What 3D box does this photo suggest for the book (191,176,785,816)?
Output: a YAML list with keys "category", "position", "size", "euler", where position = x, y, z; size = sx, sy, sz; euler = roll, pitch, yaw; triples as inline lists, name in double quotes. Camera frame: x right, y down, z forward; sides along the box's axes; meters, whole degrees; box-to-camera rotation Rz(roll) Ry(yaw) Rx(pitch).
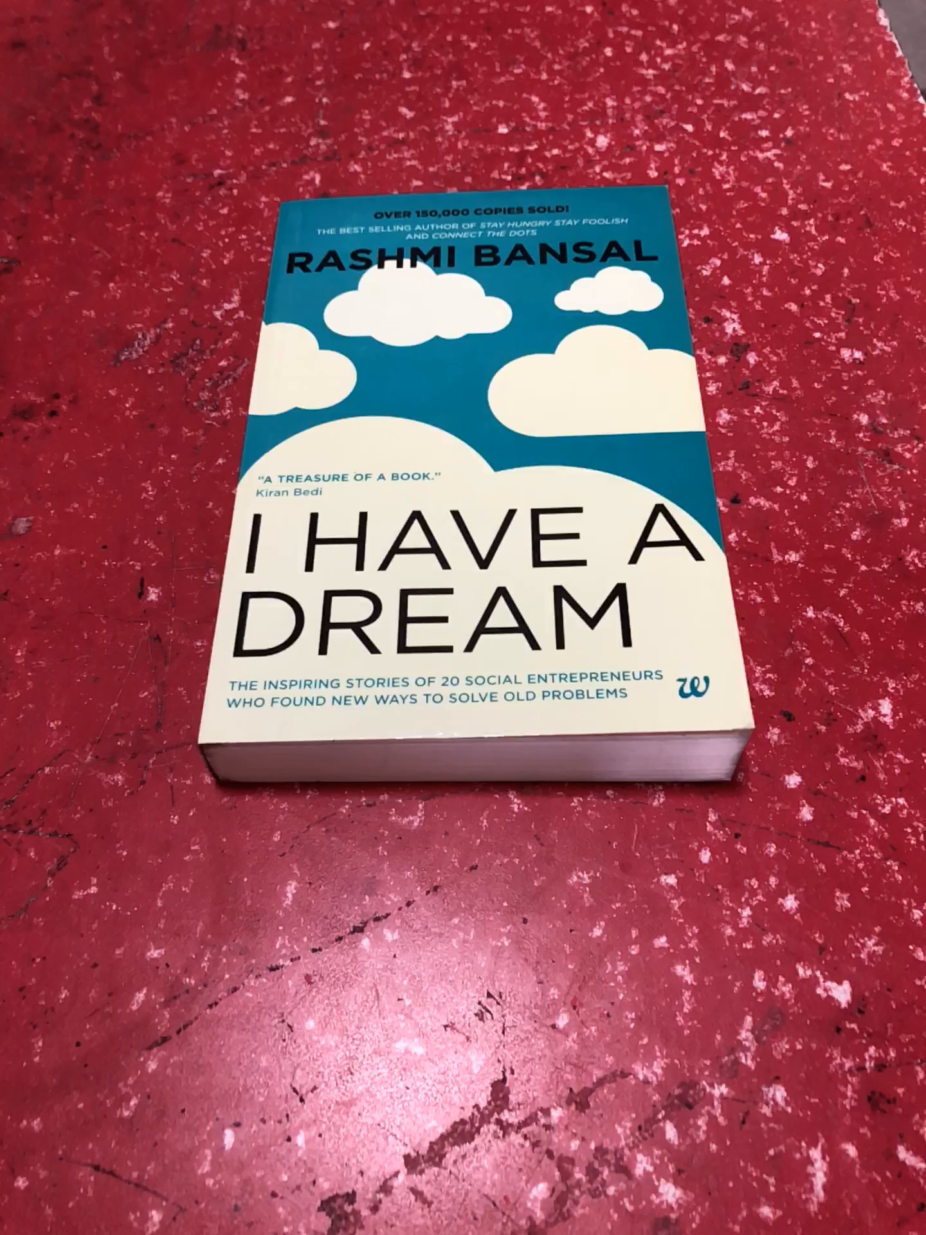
- category: "book"
  position: [0.005, -0.046, 0.292]
  size: [0.130, 0.030, 0.200]
  euler: [-1, 58, 2]
